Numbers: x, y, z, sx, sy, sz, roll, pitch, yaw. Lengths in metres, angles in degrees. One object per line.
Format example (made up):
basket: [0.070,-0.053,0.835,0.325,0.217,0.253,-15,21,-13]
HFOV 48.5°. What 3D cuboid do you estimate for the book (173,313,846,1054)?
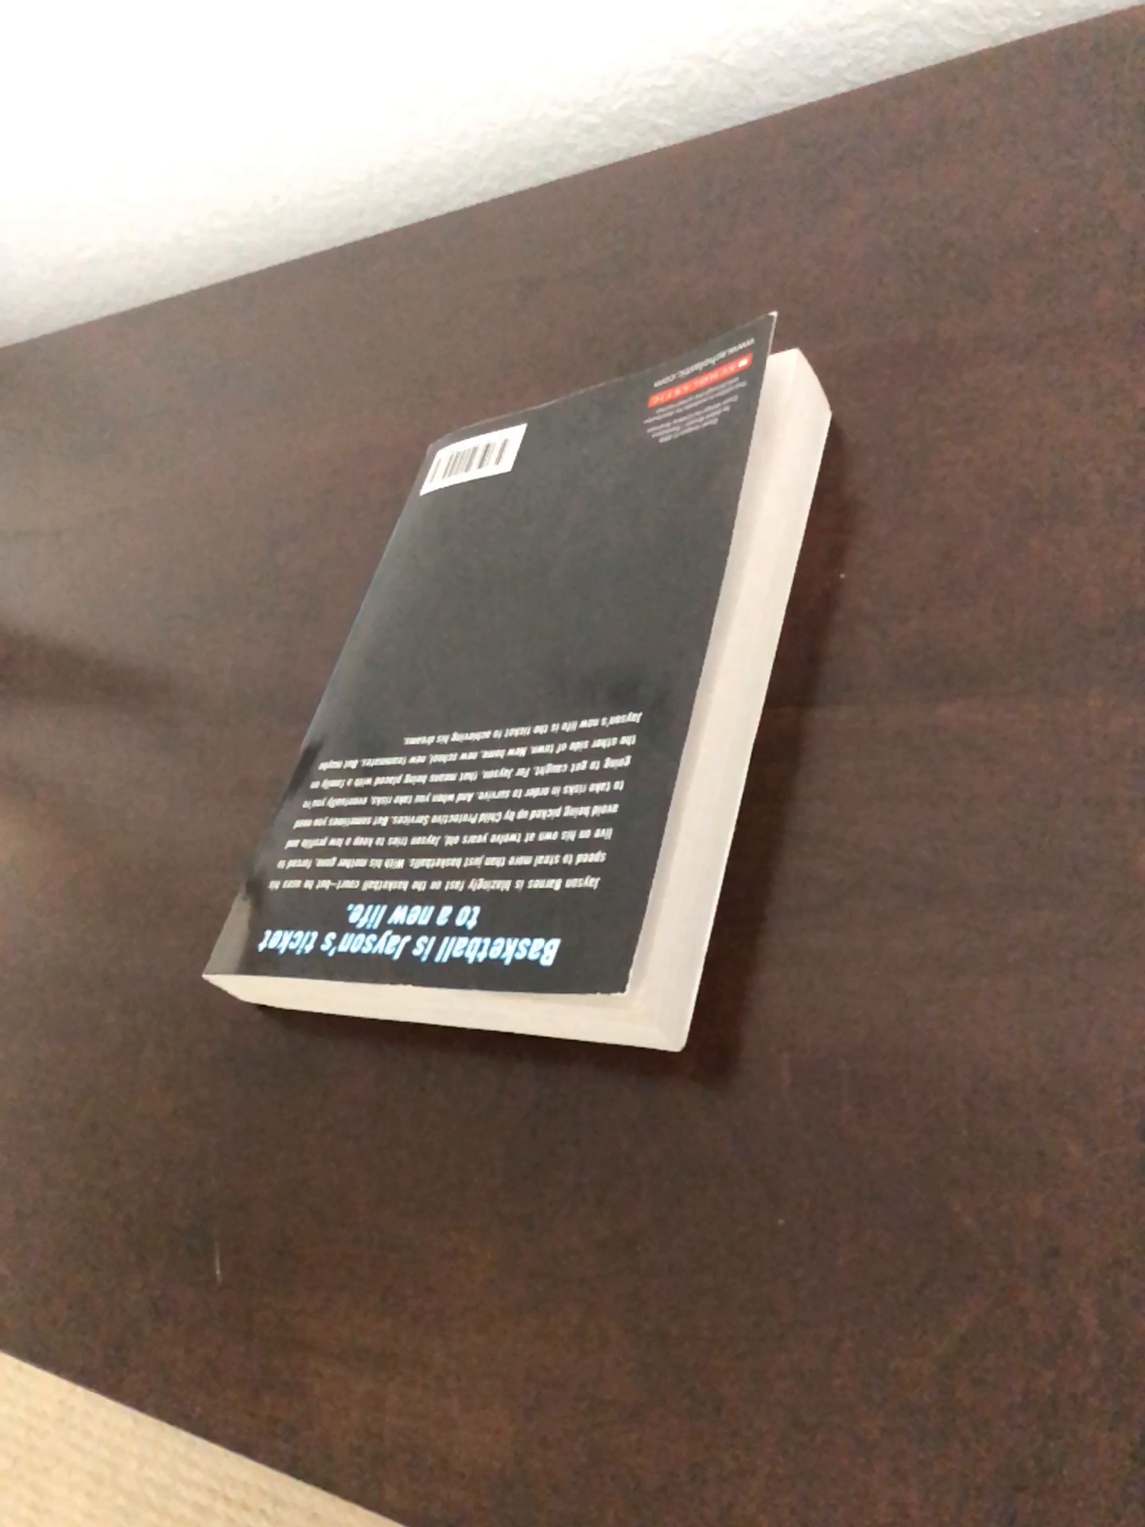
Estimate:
book: [-0.013,-0.025,0.353,0.140,0.036,0.198,-5,54,36]
